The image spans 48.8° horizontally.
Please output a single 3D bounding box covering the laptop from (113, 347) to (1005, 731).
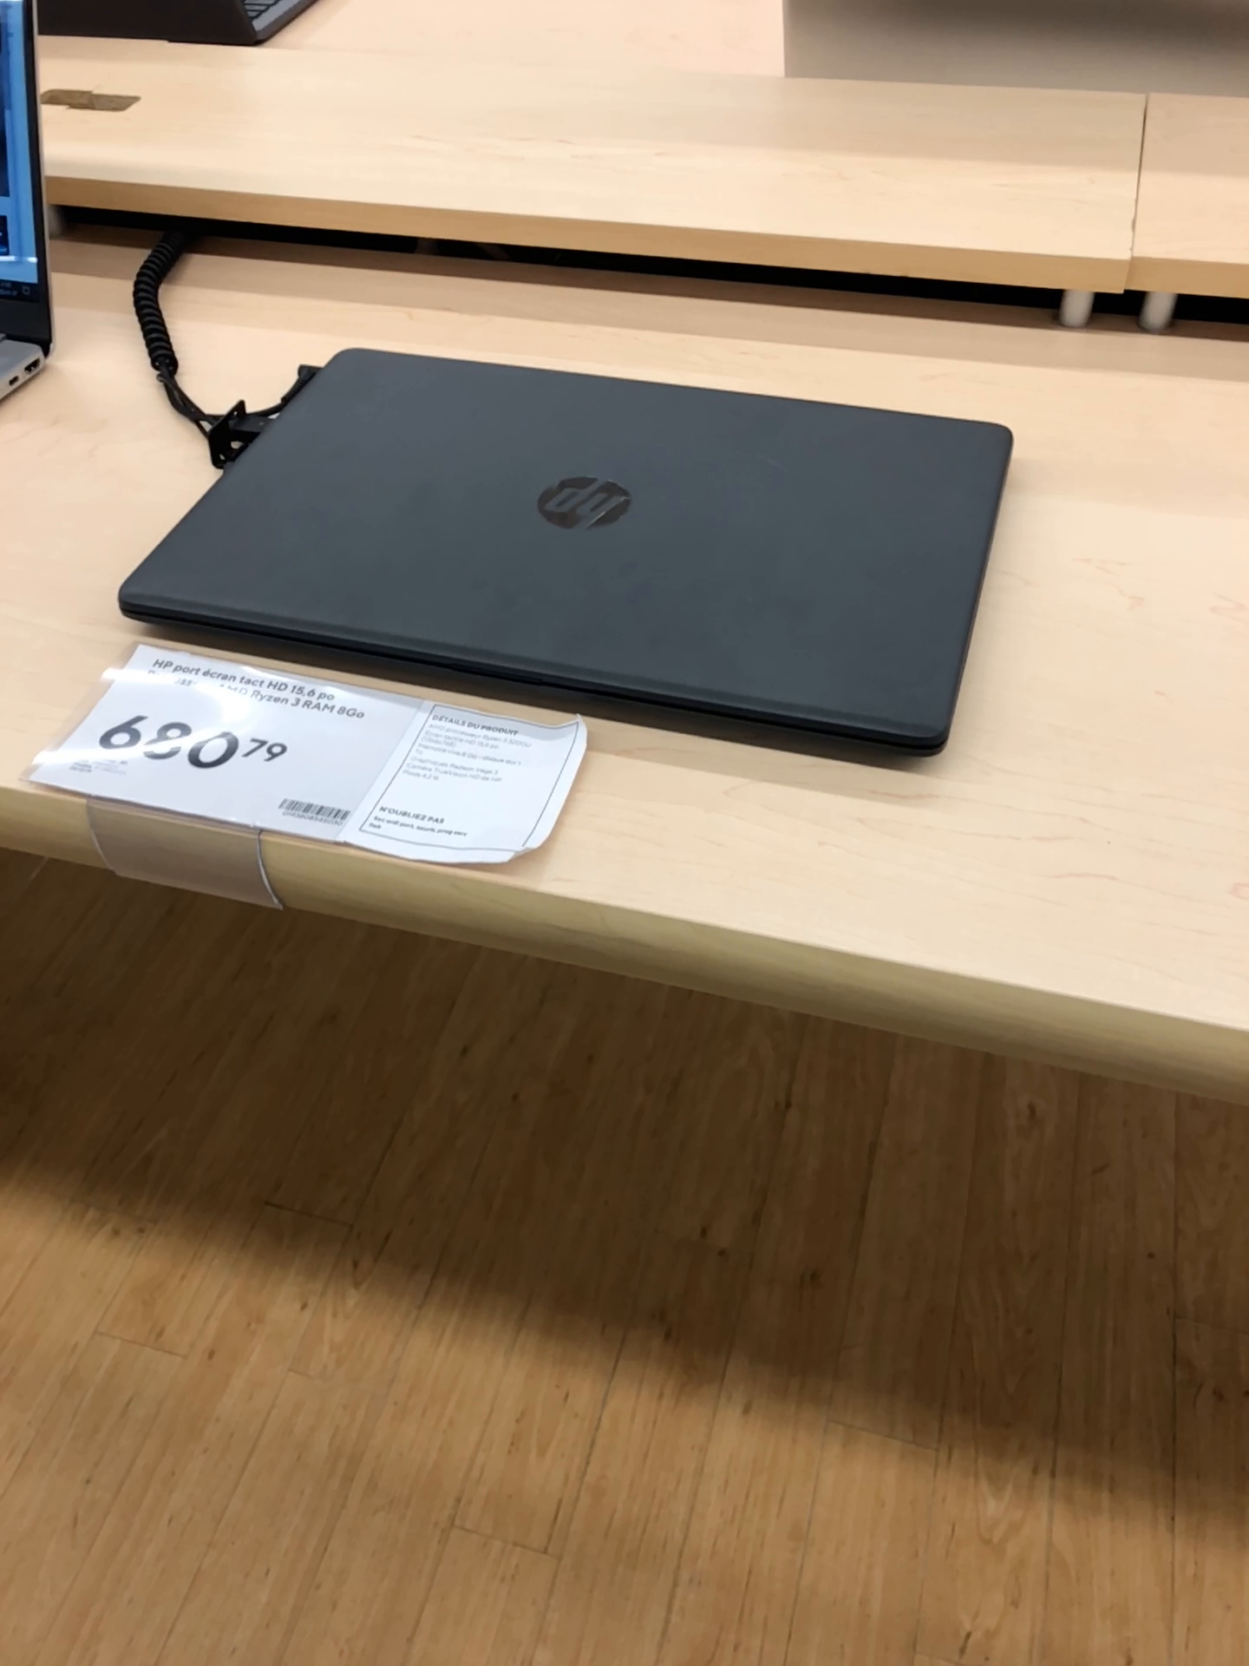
[{"bbox_3d":[-0.019,-0.161,0.674,0.374,0.005,0.245,11,47,13],"label":"laptop"}]
